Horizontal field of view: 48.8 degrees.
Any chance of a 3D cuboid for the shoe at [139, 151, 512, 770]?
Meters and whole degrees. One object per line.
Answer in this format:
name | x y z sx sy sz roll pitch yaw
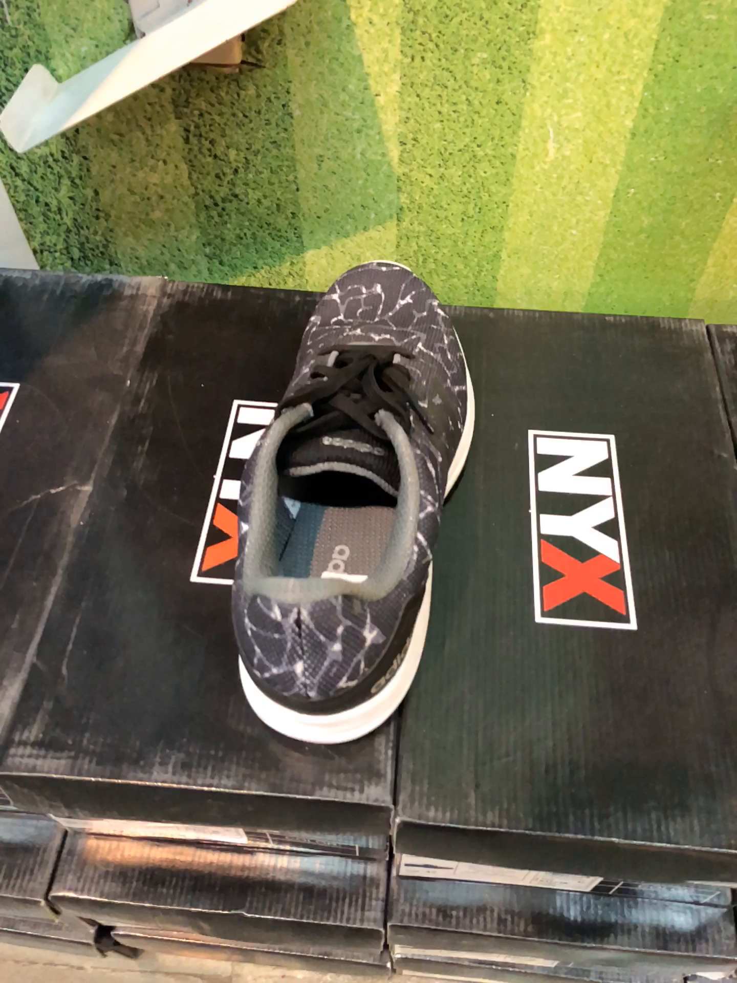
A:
shoe | 0.000 -0.028 0.379 0.108 0.121 0.262 6 53 5
